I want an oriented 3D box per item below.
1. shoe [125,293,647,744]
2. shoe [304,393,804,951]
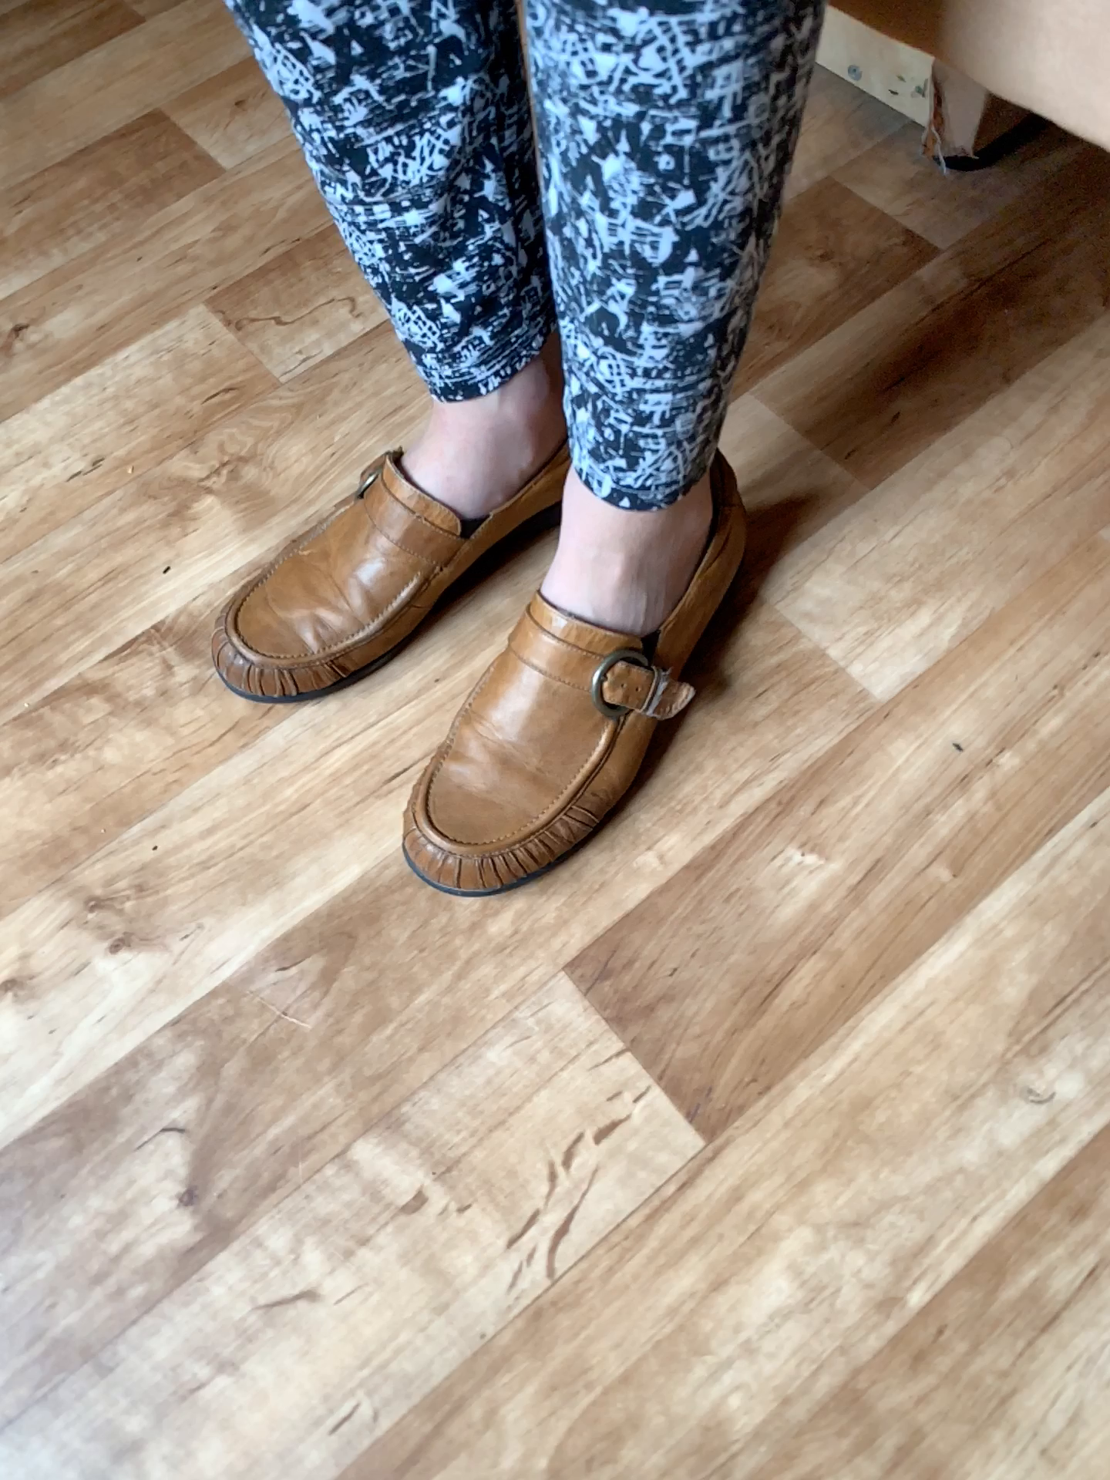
[{"bbox_3d":[-0.063,-0.093,0.471,0.190,0.070,0.081,-33,64,-11],"label":"shoe"},{"bbox_3d":[0.007,-0.029,0.427,0.080,0.070,0.190,31,70,19],"label":"shoe"}]
